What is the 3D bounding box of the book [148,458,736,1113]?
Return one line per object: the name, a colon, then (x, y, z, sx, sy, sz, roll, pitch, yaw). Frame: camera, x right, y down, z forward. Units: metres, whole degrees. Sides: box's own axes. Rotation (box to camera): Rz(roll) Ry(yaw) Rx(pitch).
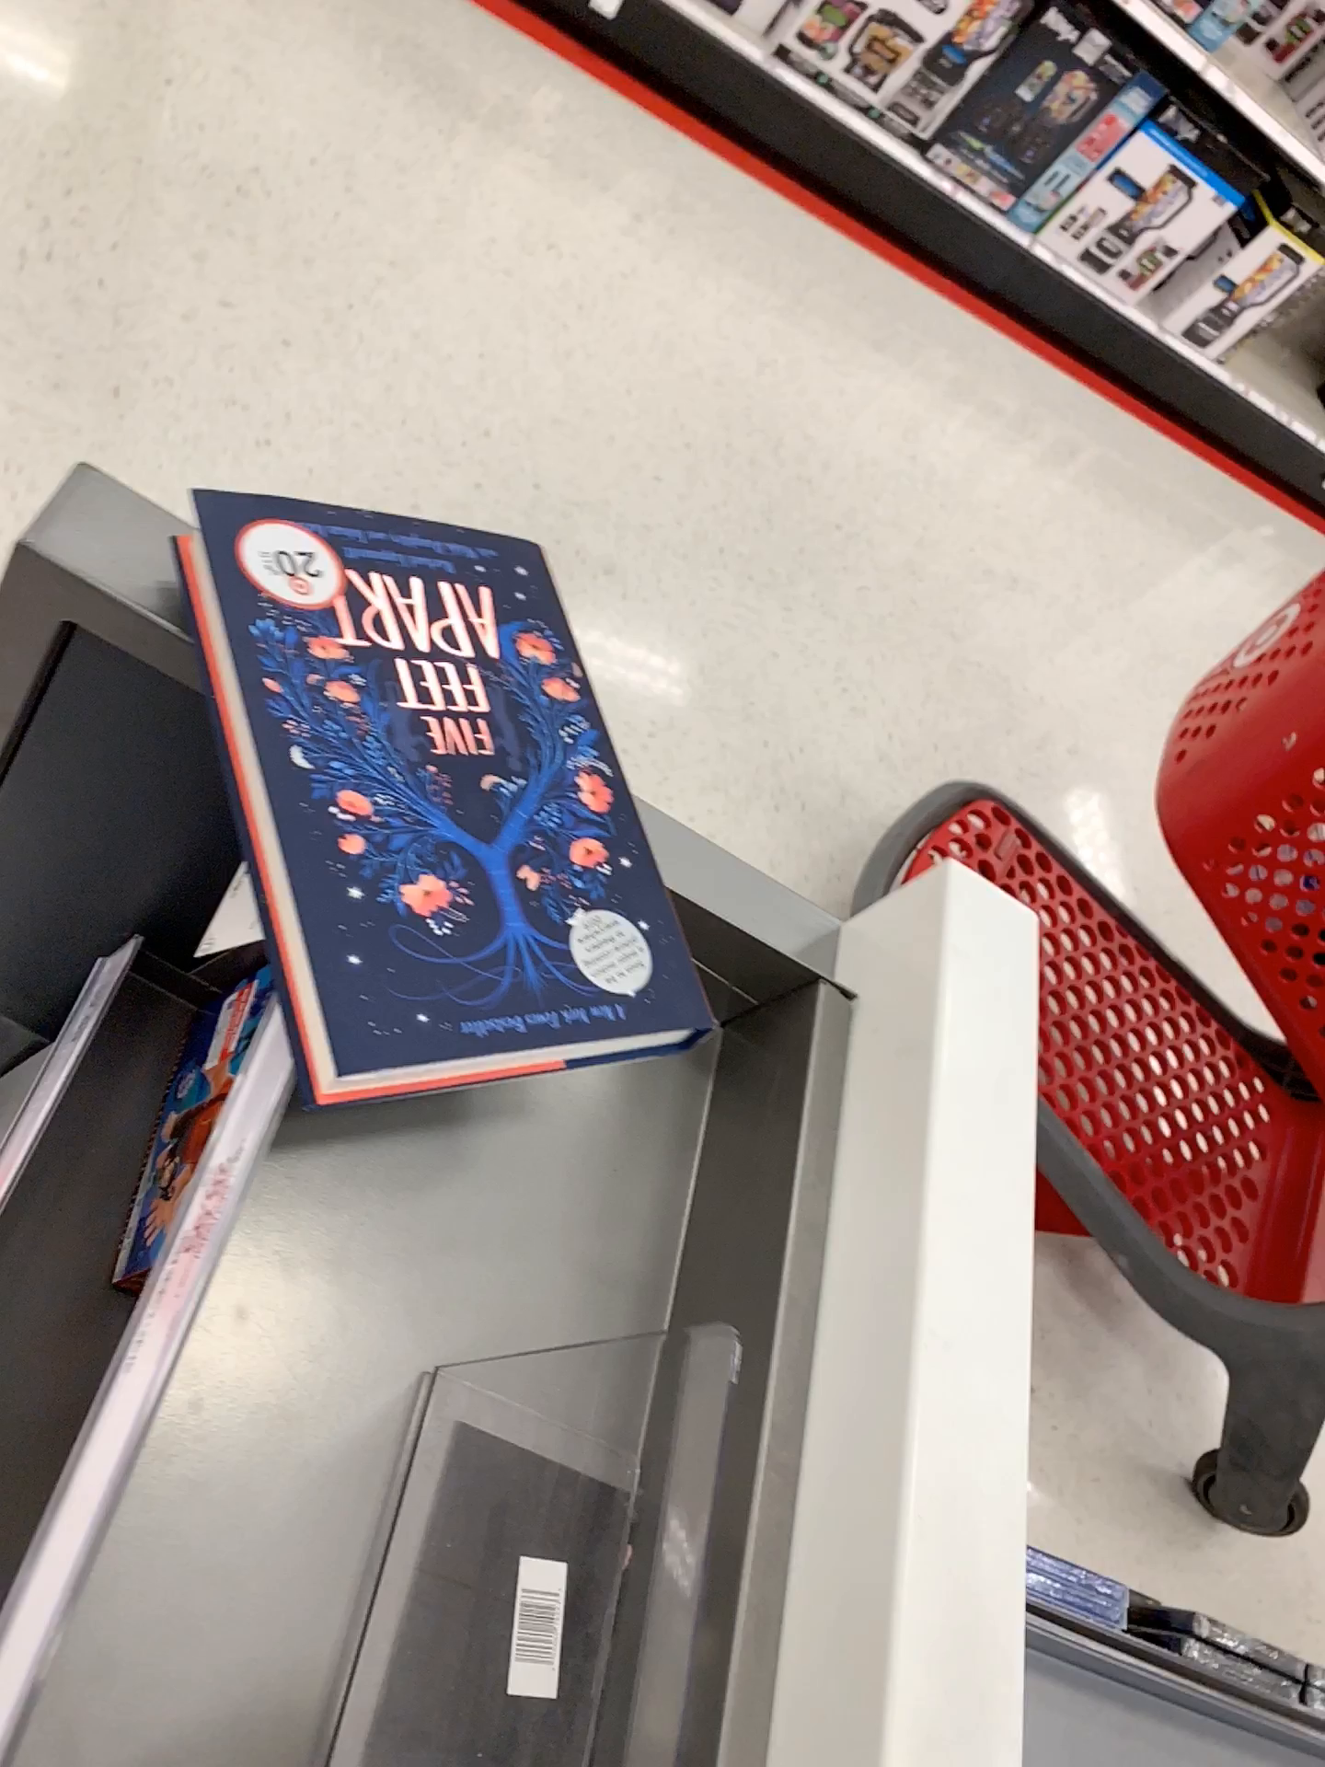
book: (-0.076, -0.039, 0.466, 0.151, 0.028, 0.220, -1, 61, -41)
